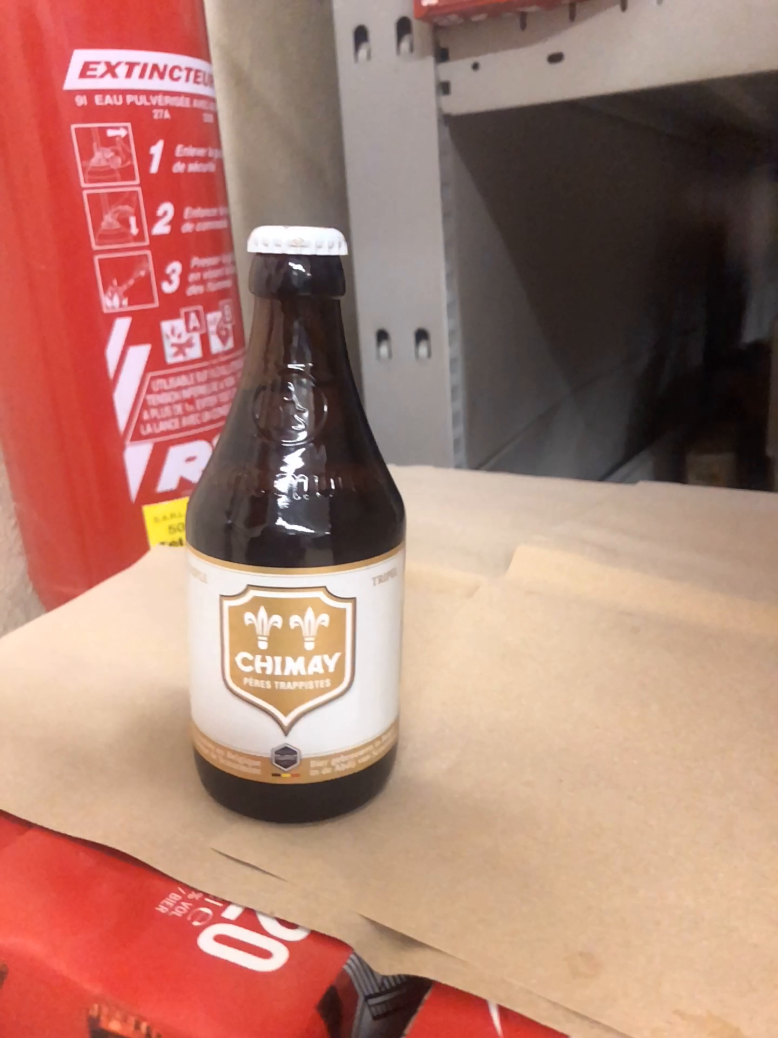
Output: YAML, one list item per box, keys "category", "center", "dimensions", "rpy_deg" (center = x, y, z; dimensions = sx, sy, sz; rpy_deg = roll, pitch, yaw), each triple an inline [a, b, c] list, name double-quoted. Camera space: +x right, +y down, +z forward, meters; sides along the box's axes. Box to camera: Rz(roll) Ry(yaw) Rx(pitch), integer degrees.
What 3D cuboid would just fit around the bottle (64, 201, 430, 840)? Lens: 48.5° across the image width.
- category: "bottle"
  center: [-0.032, -0.003, 0.257]
  dimensions: [0.080, 0.169, 0.070]
  rpy_deg: [2, 18, 7]
